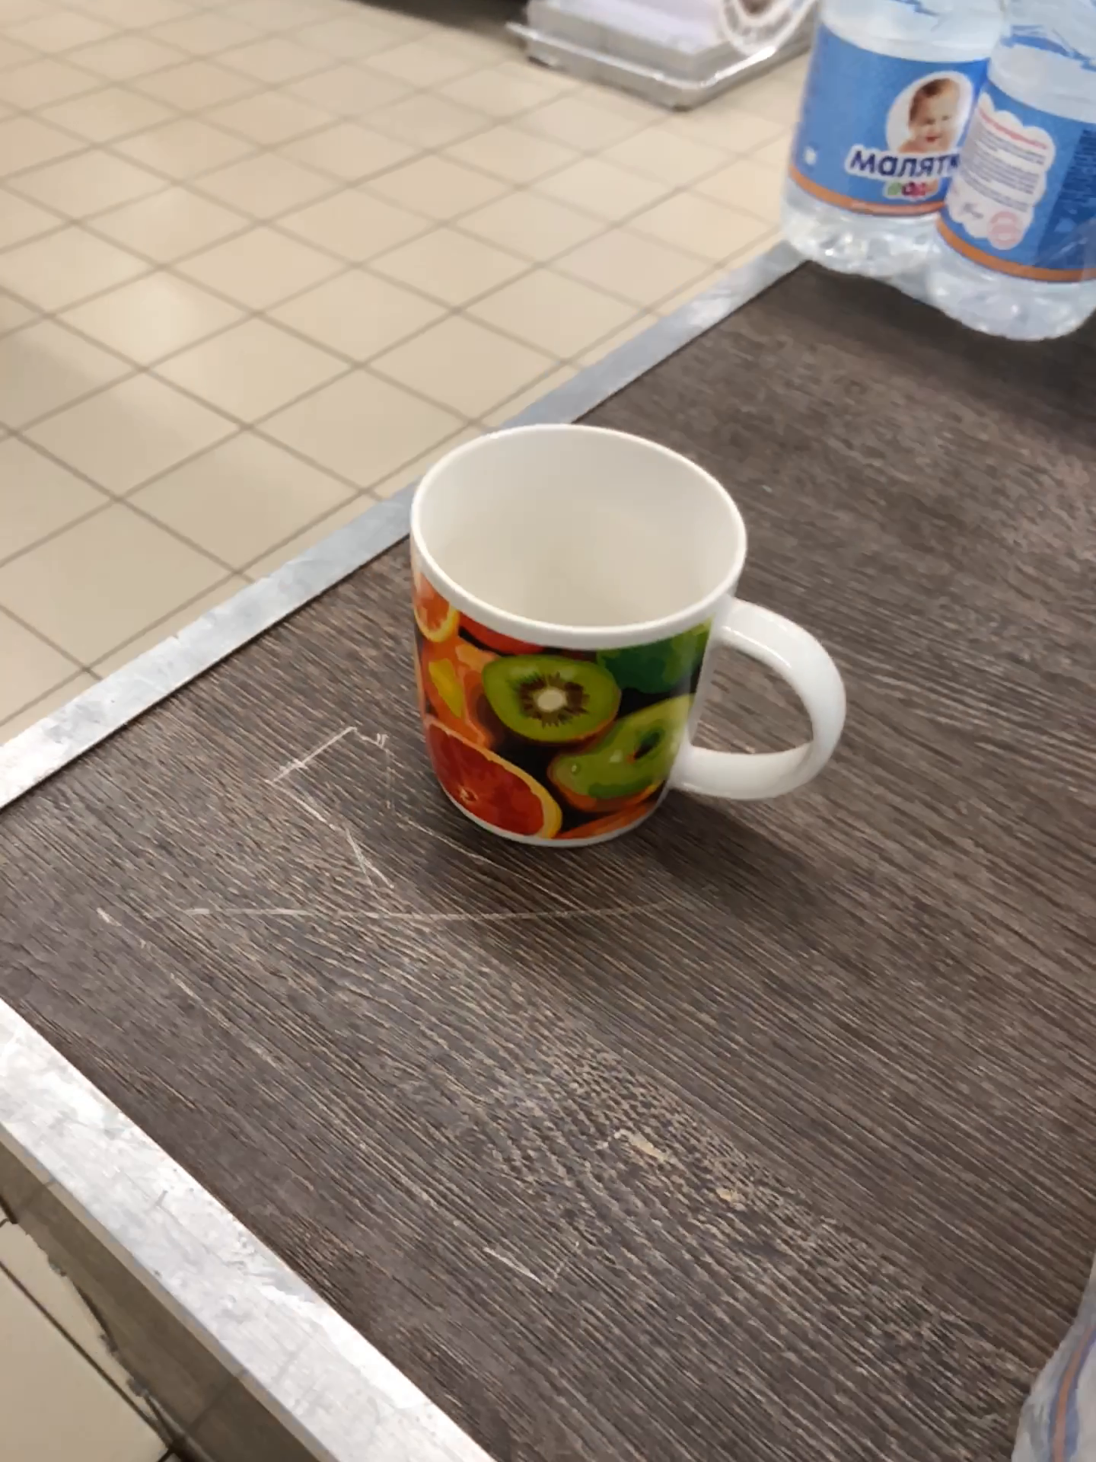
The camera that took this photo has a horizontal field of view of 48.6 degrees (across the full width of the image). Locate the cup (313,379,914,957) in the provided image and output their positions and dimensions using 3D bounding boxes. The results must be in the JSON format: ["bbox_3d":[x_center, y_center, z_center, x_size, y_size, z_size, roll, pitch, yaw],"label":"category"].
[{"bbox_3d":[0.017,-0.021,0.338,0.126,0.085,0.091,23,49,16],"label":"cup"}]
